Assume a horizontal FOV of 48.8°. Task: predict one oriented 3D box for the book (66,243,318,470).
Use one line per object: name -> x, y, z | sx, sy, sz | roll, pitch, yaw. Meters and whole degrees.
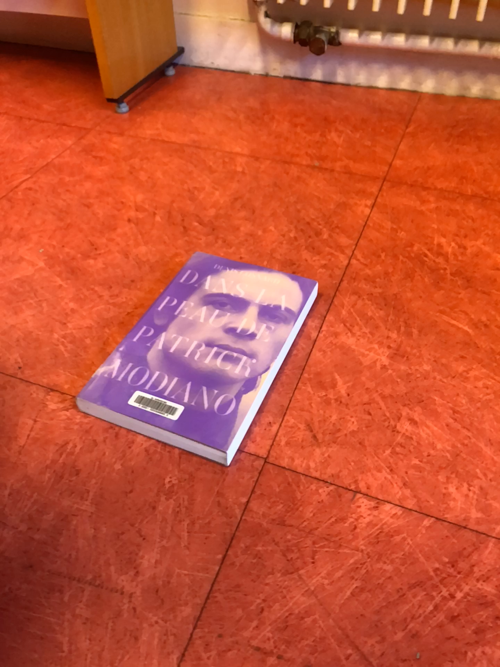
book -> -0.043, 0.004, 0.540 | 0.150, 0.030, 0.234 | 17, 48, 17
